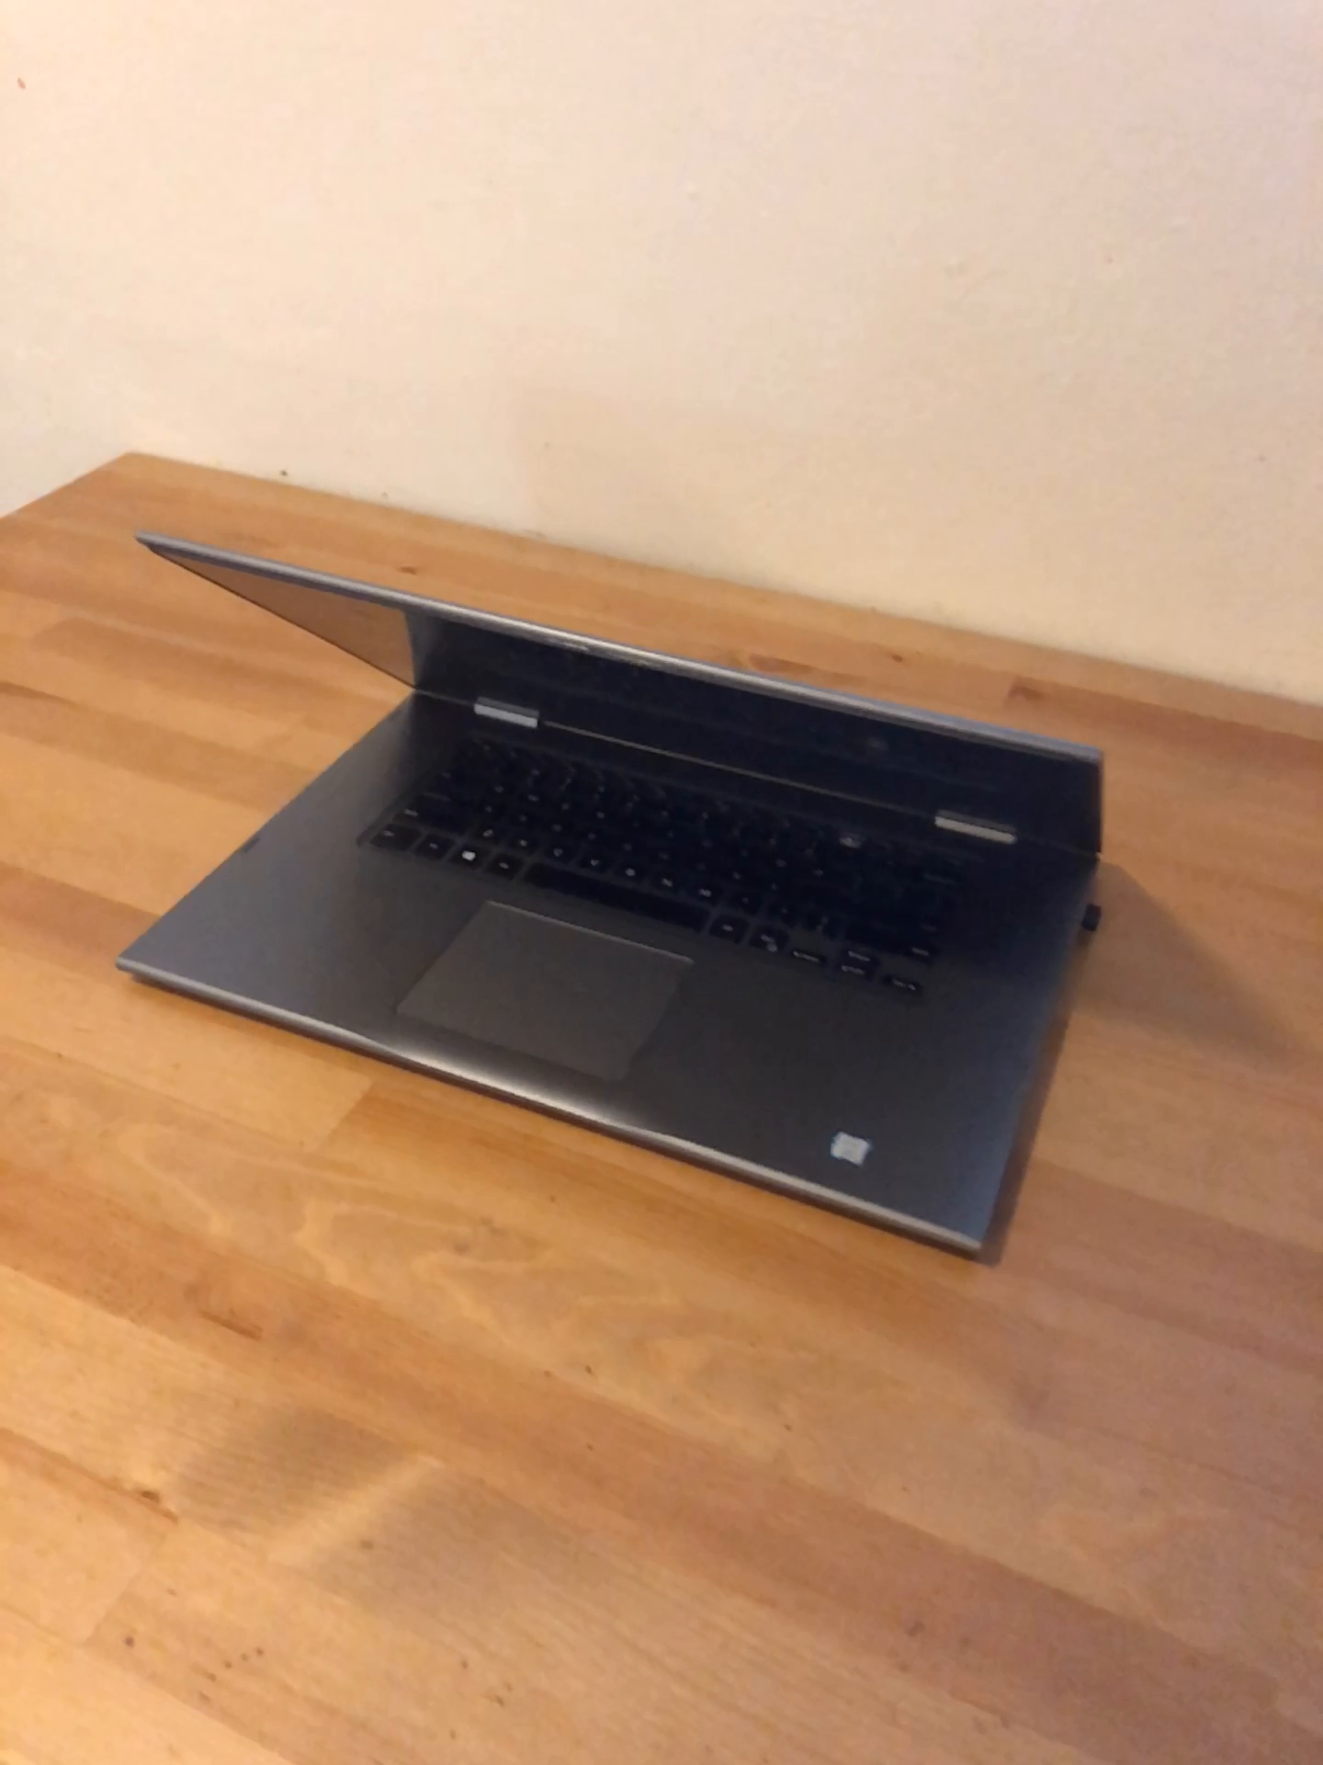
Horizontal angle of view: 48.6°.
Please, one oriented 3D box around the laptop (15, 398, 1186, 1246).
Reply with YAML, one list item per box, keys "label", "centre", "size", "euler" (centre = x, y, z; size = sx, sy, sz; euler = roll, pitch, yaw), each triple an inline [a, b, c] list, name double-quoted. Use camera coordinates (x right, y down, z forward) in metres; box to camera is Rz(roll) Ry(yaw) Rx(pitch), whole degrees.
- label: "laptop"
  centre: [-0.010, -0.053, 0.609]
  size: [0.375, 0.165, 0.248]
  euler: [15, 40, 17]
